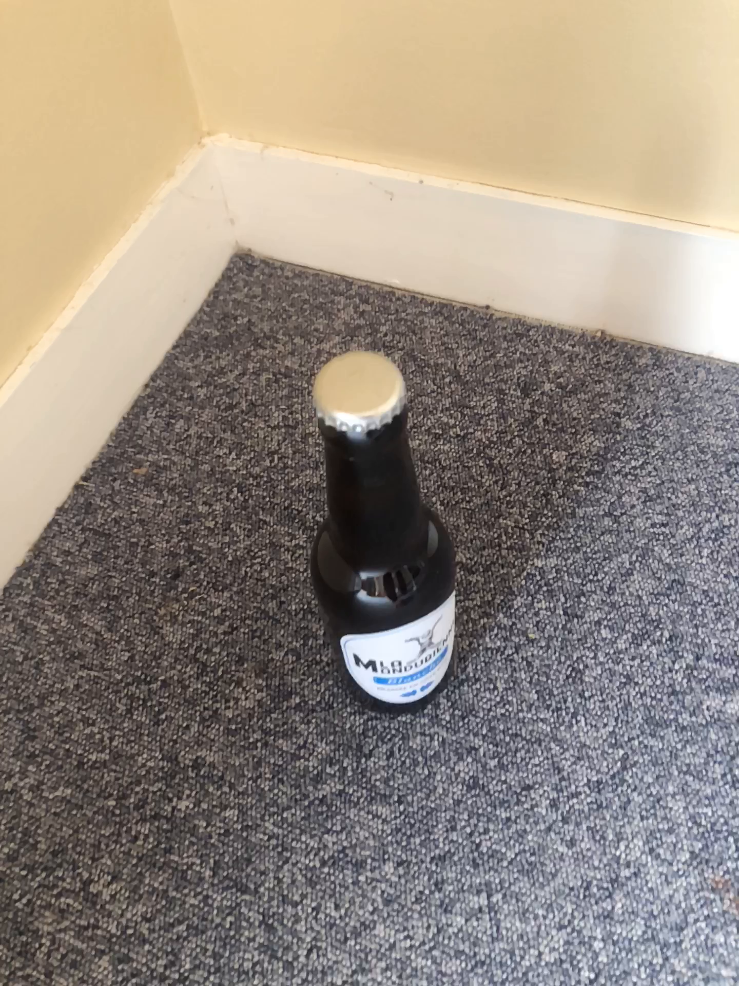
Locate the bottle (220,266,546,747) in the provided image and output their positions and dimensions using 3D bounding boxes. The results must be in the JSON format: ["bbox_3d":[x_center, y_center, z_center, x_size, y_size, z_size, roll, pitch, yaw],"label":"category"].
[{"bbox_3d":[0.010,0.024,0.321,0.070,0.209,0.070,-2,57,4],"label":"bottle"}]
